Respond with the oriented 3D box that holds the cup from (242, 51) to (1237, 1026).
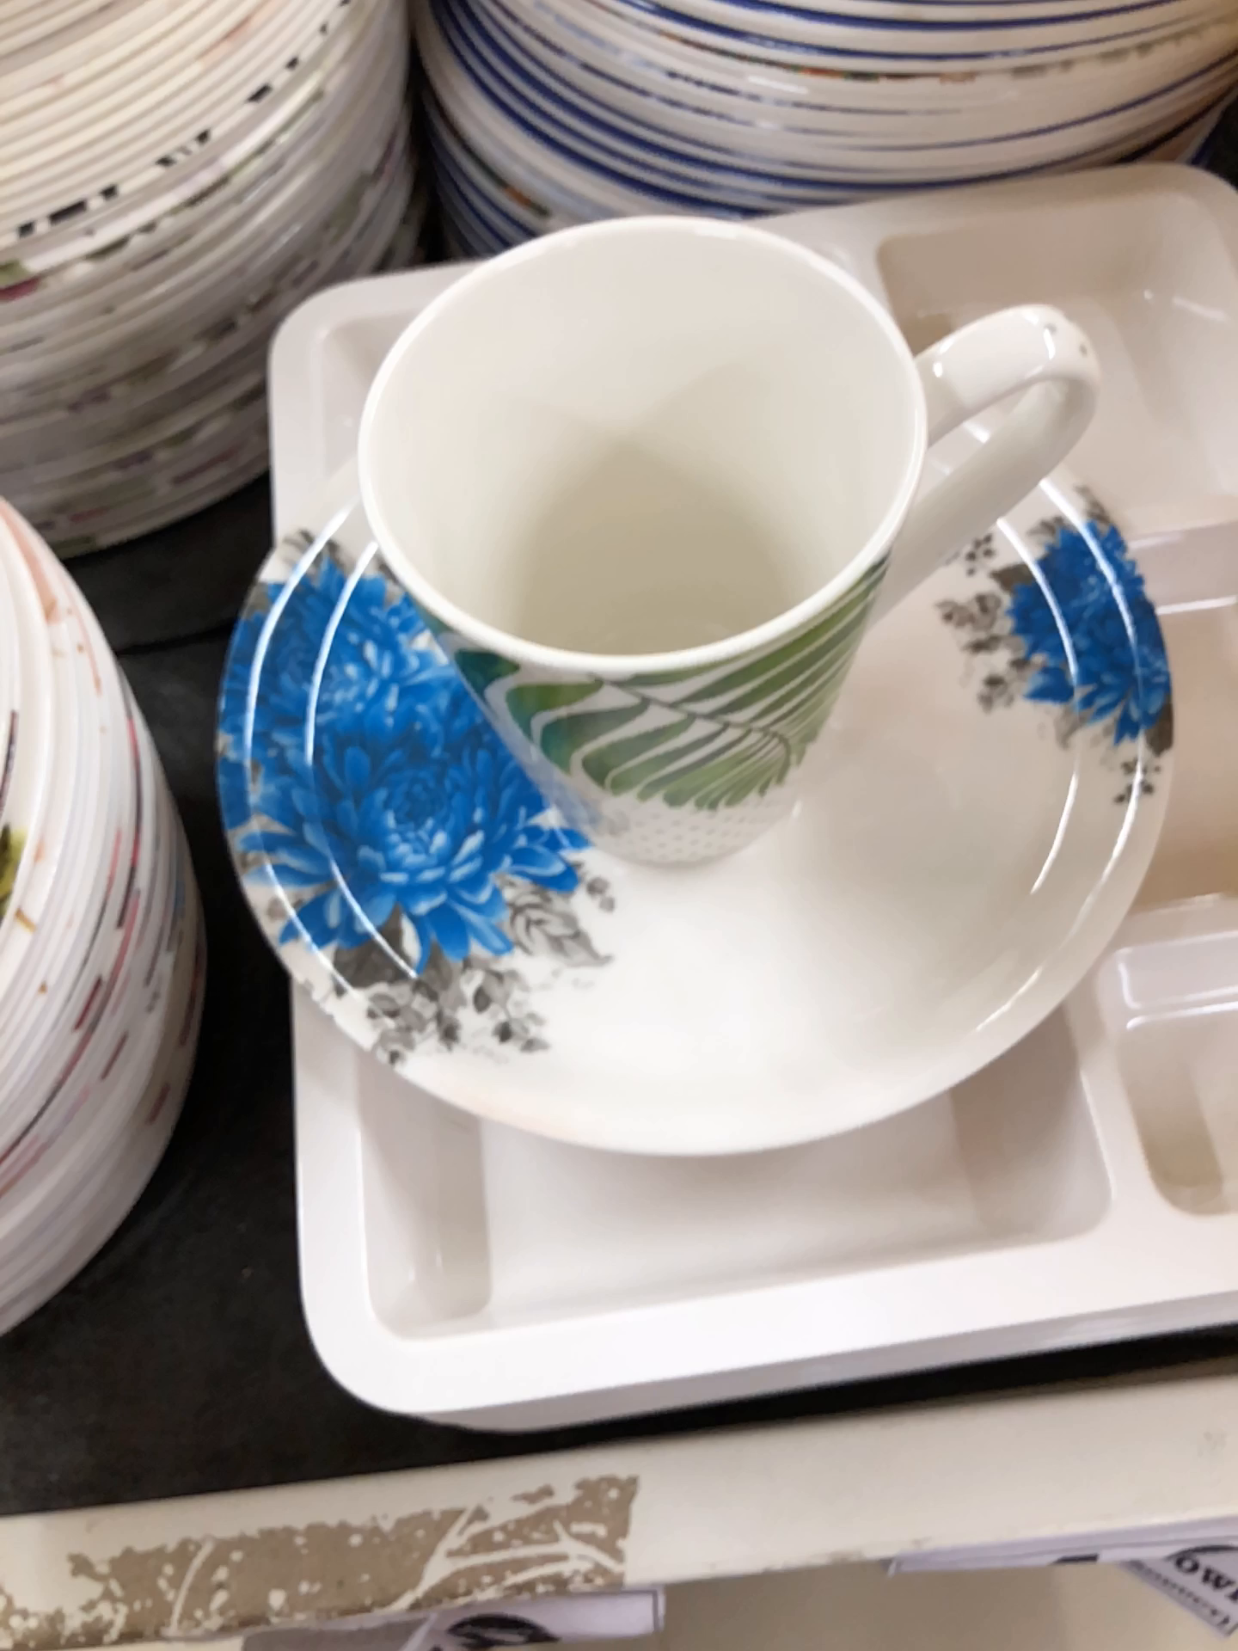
[{"bbox_3d":[0.020,-0.044,0.238,0.120,0.090,0.080,-35,68,-12],"label":"cup"}]
